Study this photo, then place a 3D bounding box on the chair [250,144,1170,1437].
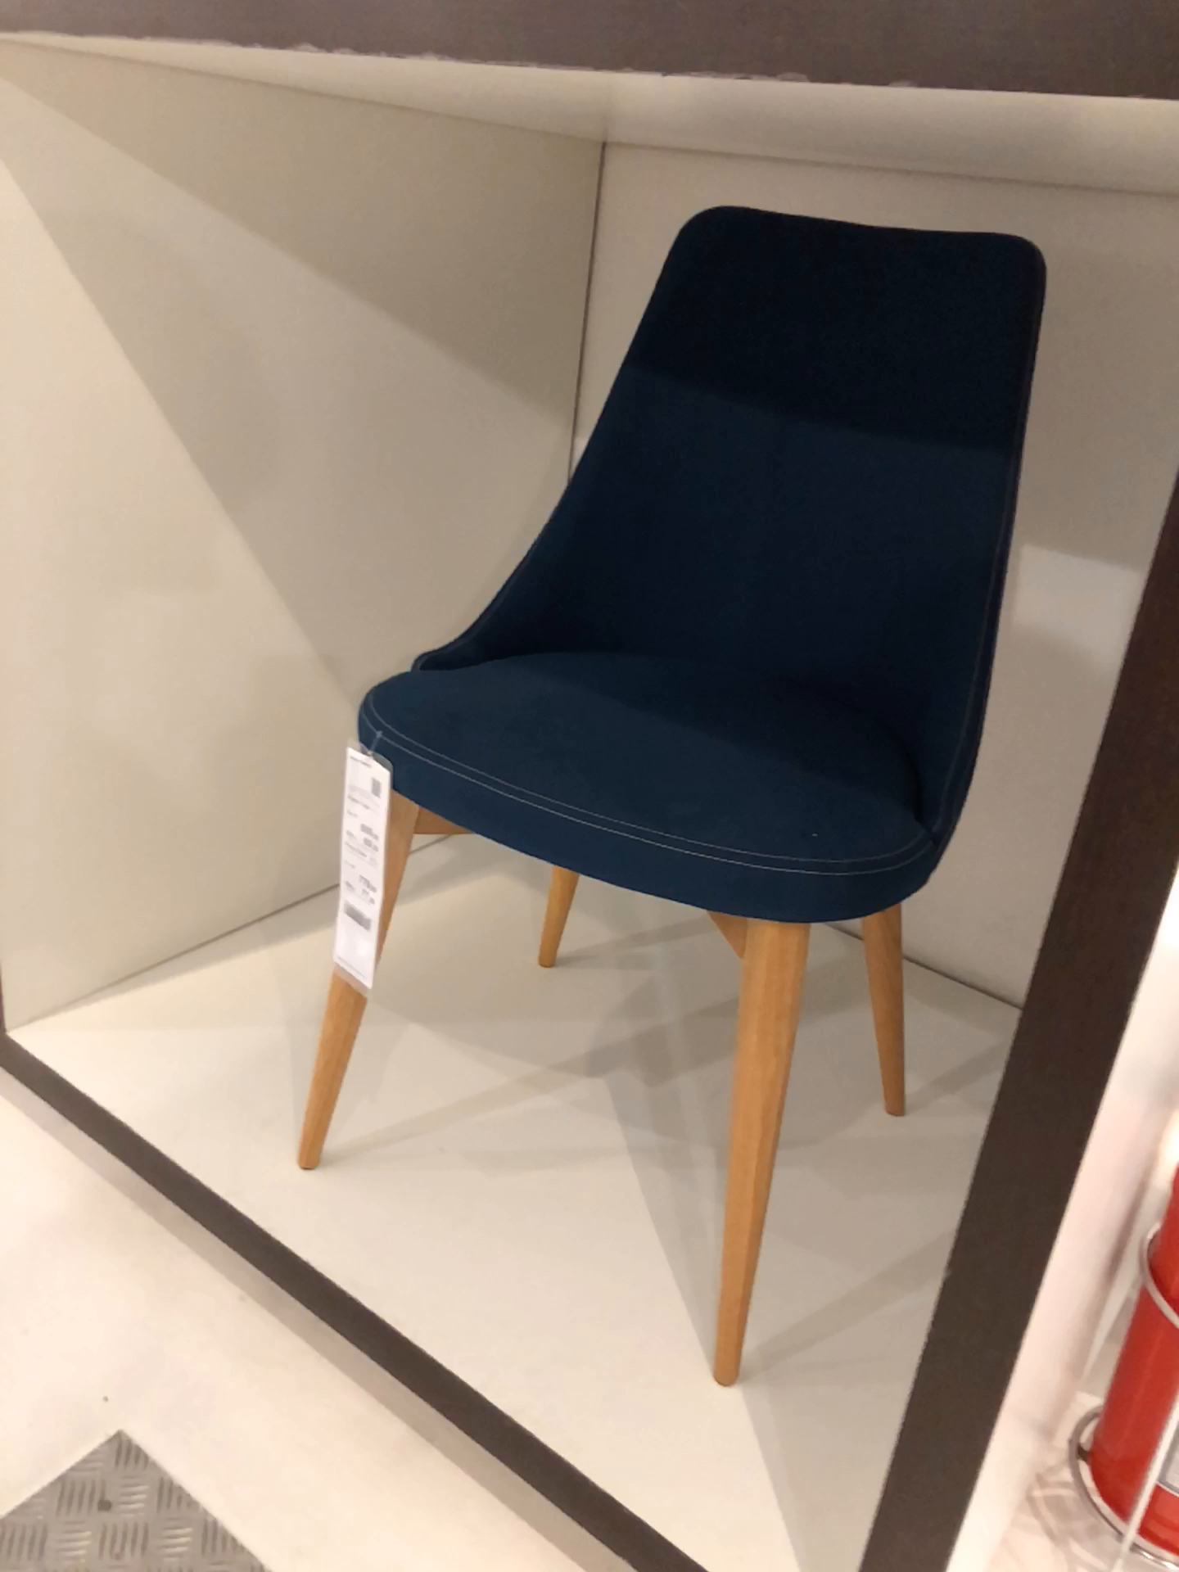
[{"bbox_3d":[0.082,-0.049,1.151,0.521,0.864,0.523,19,27,26],"label":"chair"}]
